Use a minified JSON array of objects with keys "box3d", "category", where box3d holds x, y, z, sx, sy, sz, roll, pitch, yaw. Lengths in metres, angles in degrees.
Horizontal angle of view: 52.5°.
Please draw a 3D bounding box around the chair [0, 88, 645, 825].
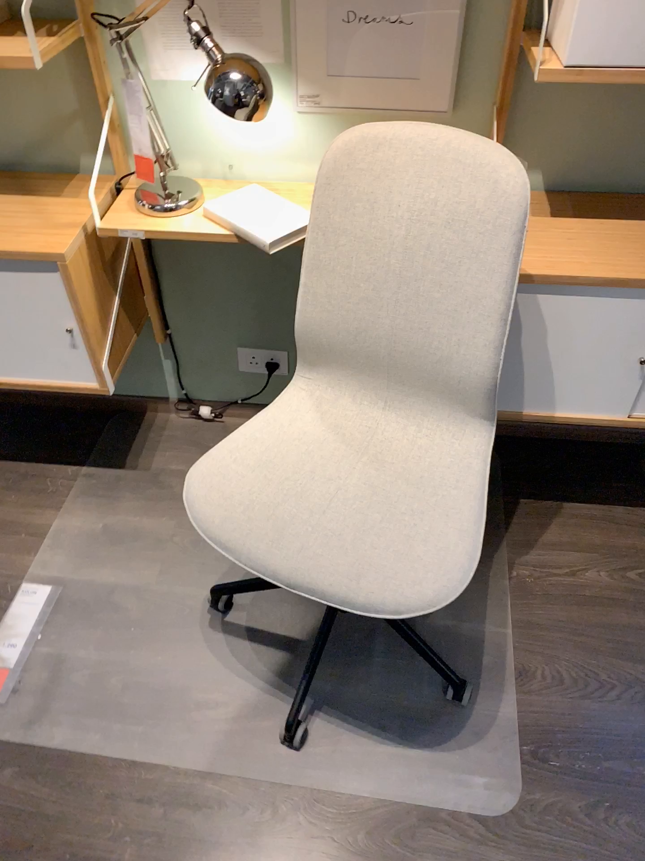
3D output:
[{"box3d":[0.078,0.067,1.129,0.620,0.966,0.622,19,48,19],"category":"chair"}]
